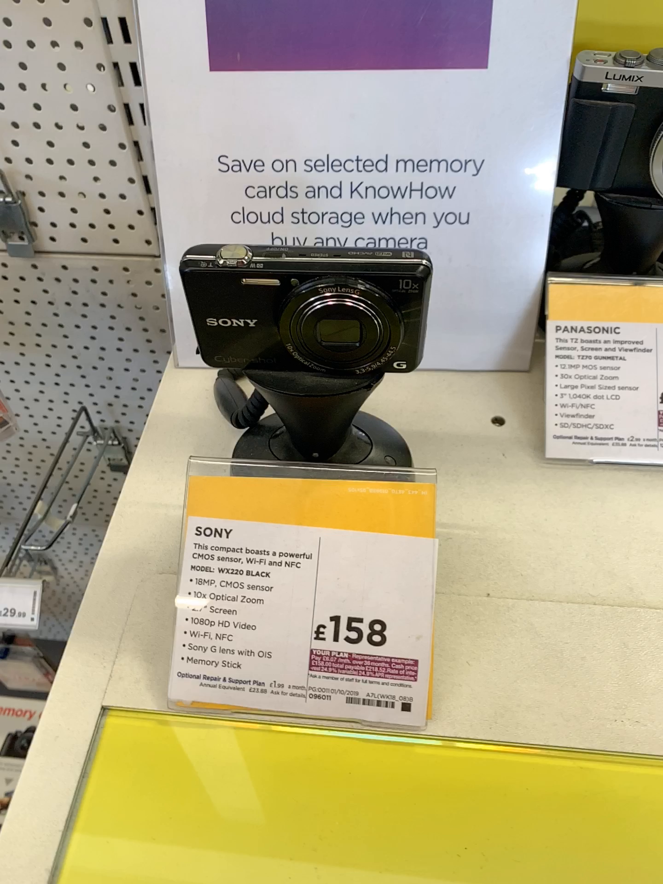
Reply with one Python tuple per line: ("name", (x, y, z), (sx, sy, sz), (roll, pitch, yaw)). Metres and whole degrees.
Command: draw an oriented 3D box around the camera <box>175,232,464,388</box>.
("camera", (-0.003, -0.050, 0.265), (0.100, 0.050, 0.030), (2, 50, 4))
